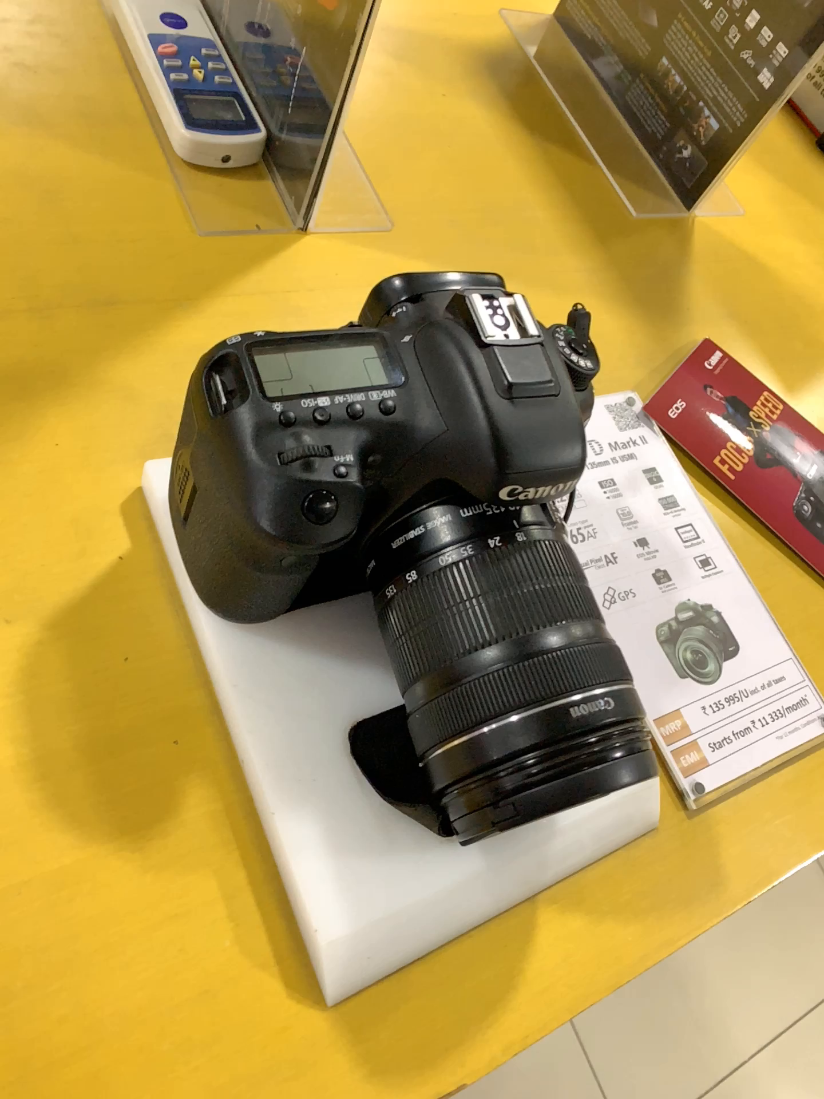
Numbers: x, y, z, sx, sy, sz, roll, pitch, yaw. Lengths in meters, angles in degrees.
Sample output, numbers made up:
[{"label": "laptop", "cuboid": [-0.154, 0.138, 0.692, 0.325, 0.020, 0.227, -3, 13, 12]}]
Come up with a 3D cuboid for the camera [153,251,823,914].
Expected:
[{"label": "camera", "cuboid": [0.010, 0.008, 0.279, 0.140, 0.120, 0.160, -9, 67, -28]}]
